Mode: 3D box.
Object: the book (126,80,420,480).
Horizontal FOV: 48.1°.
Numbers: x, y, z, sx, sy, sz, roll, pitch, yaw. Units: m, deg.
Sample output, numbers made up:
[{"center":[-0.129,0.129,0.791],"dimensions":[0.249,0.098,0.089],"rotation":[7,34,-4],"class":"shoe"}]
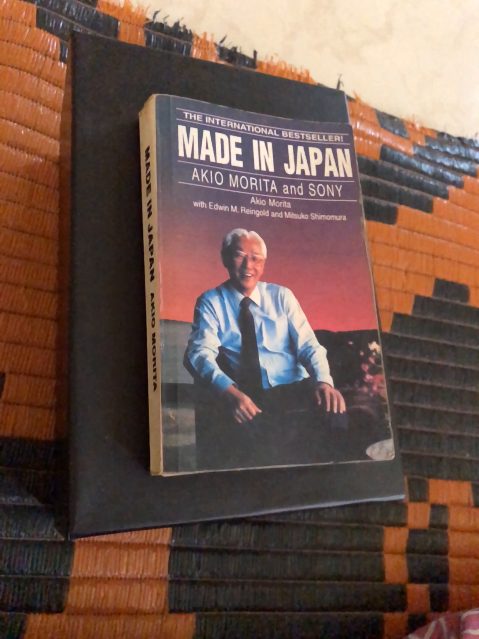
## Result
[{"center":[0.011,-0.018,0.248],"dimensions":[0.120,0.030,0.170],"rotation":[2,73,-19],"class":"book"}]
